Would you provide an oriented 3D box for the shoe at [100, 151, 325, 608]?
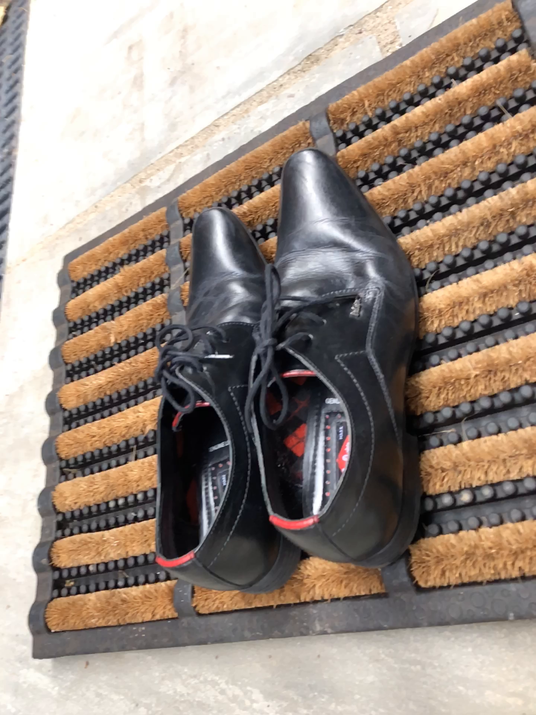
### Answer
[{"bbox_3d":[-0.044,0.015,0.432,0.100,0.099,0.301,-19,62,30],"label":"shoe"}]

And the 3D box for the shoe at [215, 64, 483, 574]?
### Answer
[{"bbox_3d":[0.042,-0.024,0.384,0.100,0.099,0.301,-19,62,30],"label":"shoe"}]
